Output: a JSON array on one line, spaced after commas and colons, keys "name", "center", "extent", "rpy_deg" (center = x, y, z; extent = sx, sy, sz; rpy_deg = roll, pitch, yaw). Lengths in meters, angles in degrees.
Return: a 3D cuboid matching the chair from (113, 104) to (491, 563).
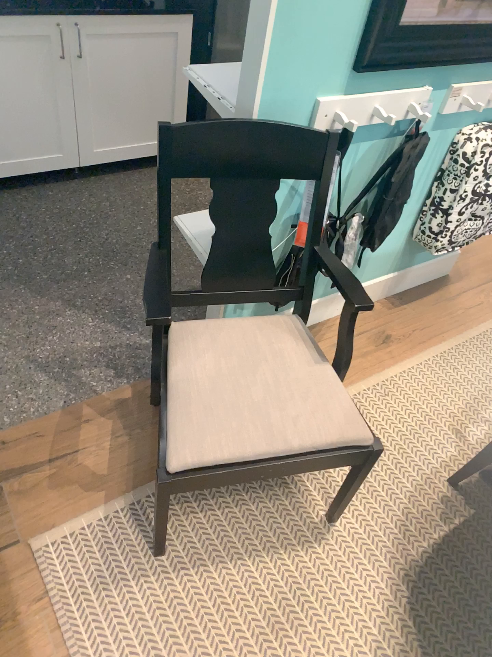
[{"name": "chair", "center": [-0.015, 0.018, 1.385], "extent": [0.601, 0.897, 0.802], "rpy_deg": [-4, 48, -16]}]
